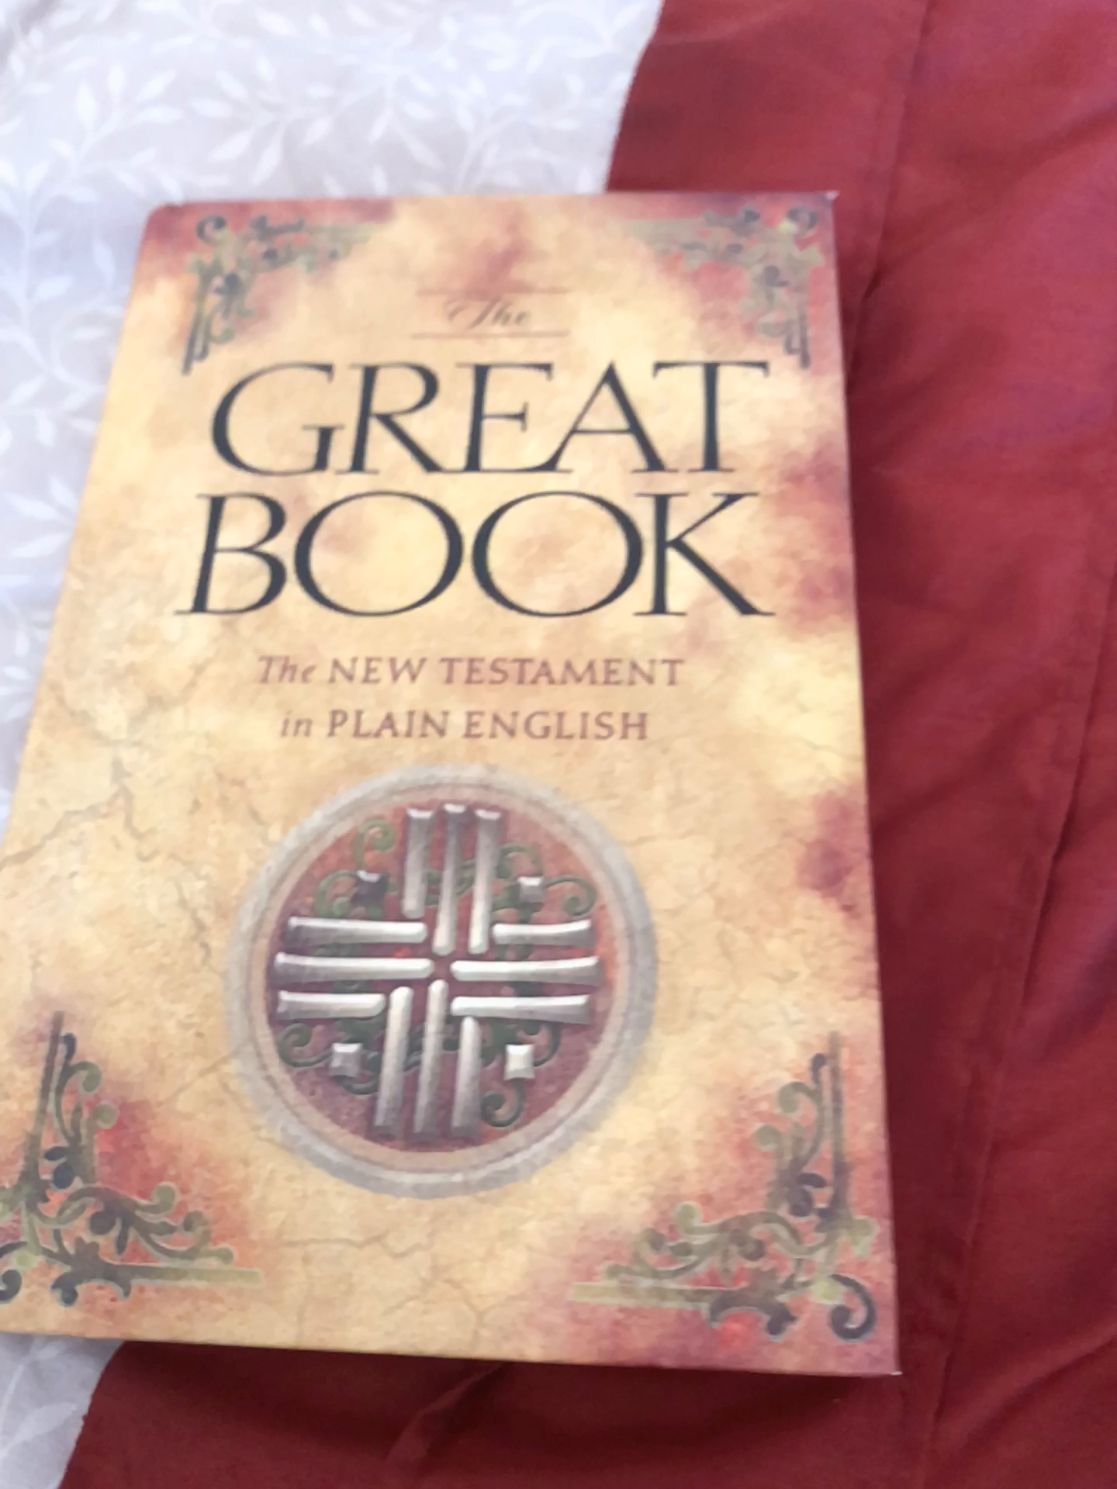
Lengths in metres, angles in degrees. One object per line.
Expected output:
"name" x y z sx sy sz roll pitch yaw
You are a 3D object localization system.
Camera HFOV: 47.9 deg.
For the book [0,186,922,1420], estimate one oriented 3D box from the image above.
"book" -0.024 -0.004 0.238 0.161 0.040 0.221 0 68 6
